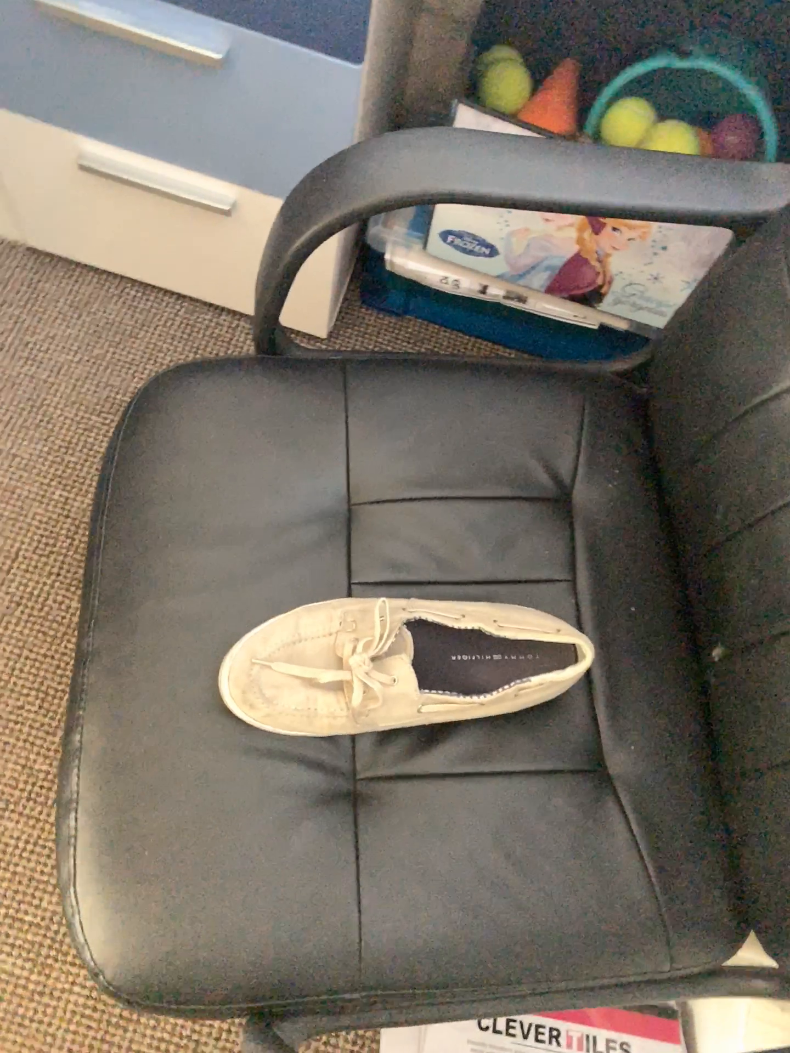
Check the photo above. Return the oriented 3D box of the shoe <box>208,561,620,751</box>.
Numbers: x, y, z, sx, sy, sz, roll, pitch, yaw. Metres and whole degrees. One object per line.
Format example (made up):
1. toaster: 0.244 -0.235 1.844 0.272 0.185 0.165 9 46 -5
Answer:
1. shoe: 0.009 0.091 0.574 0.270 0.070 0.100 -3 70 -10
